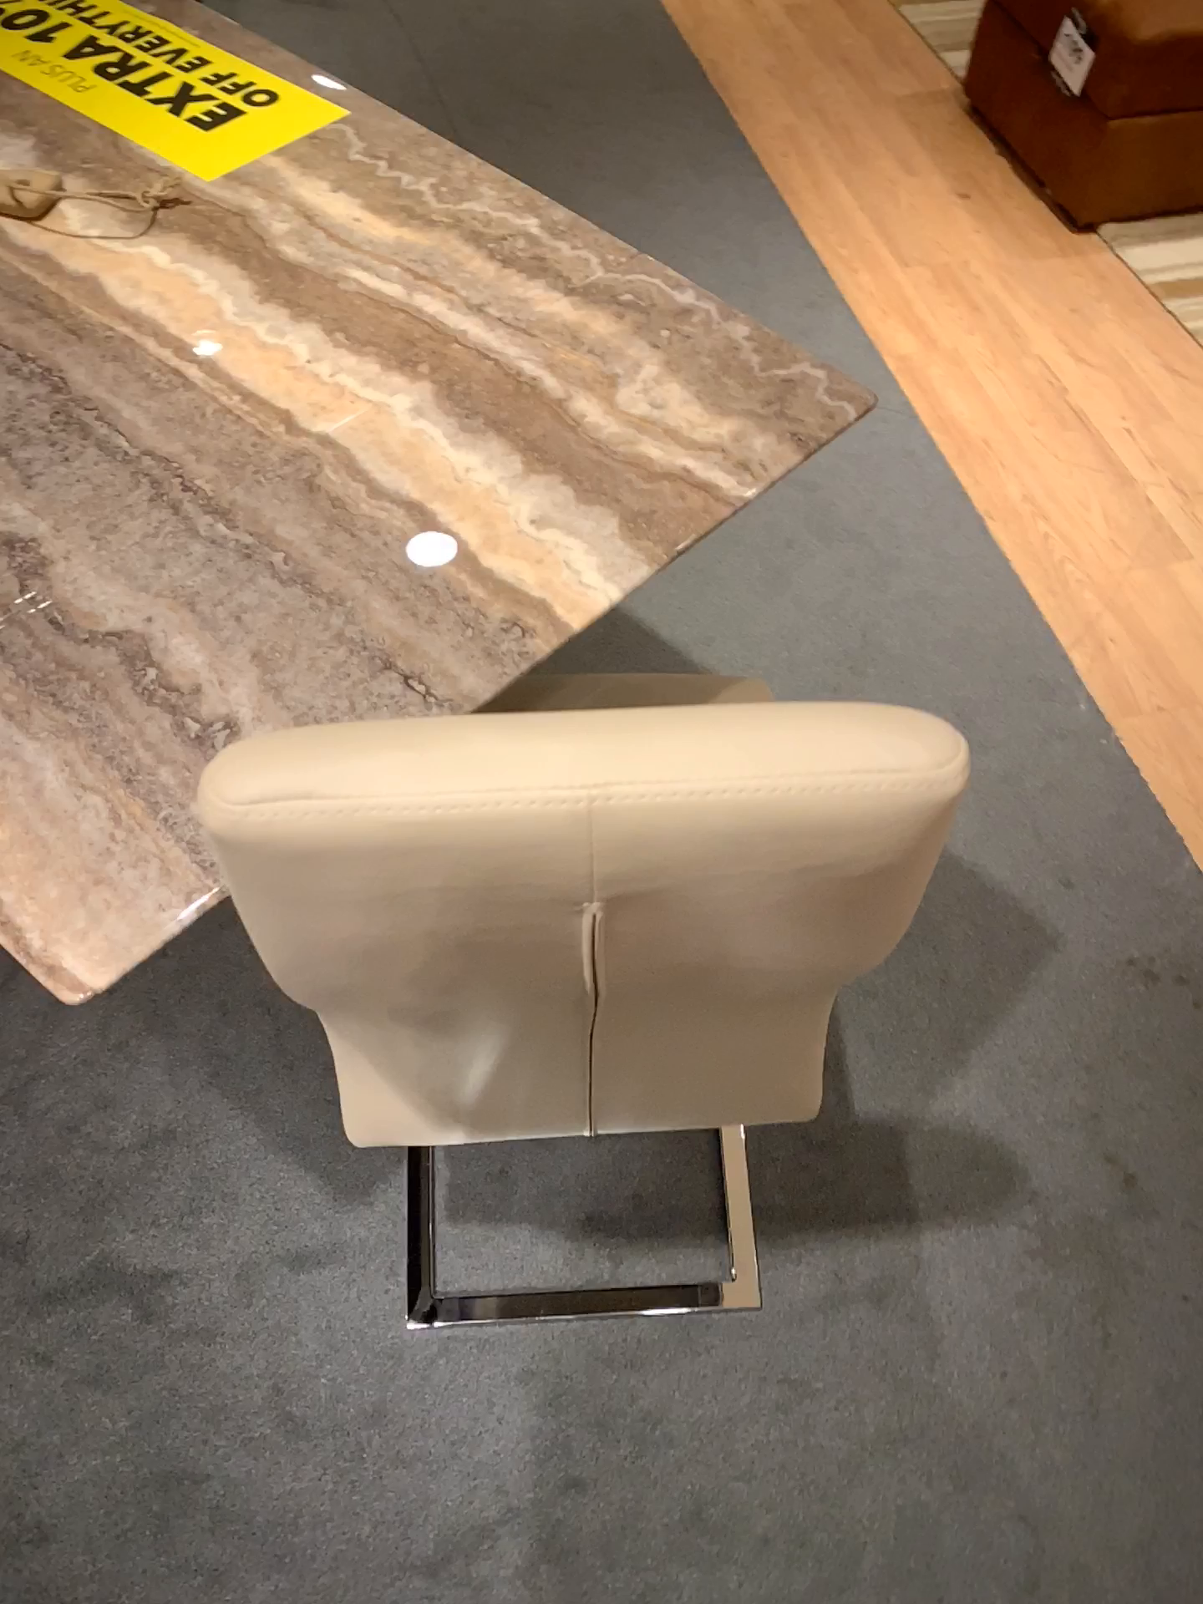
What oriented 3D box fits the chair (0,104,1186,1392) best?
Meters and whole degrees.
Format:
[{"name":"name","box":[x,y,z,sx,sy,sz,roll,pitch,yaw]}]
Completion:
[{"name":"chair","box":[-0.037,0.067,1.016,0.474,0.975,0.573,-2,54,-2]}]
